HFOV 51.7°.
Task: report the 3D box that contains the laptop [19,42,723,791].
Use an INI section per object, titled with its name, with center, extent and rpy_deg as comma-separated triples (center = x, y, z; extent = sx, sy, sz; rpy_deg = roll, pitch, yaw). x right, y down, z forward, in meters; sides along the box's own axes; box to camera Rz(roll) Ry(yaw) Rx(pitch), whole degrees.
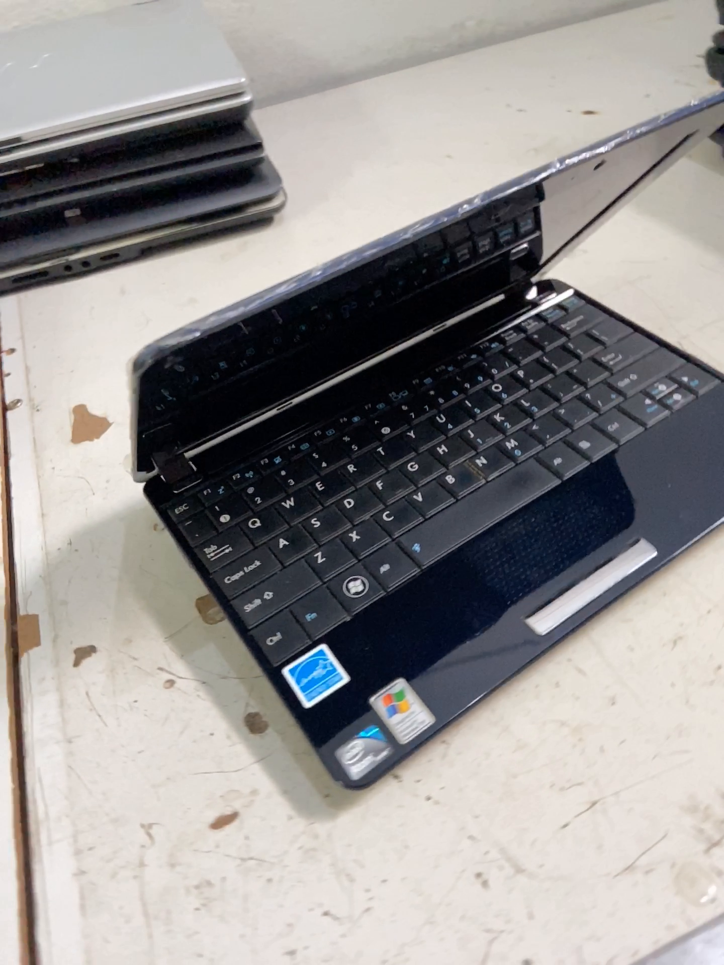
[laptop]
center = 0.044, -0.053, 0.296
extent = 0.259, 0.121, 0.170
rpy_deg = -30, 50, -21
